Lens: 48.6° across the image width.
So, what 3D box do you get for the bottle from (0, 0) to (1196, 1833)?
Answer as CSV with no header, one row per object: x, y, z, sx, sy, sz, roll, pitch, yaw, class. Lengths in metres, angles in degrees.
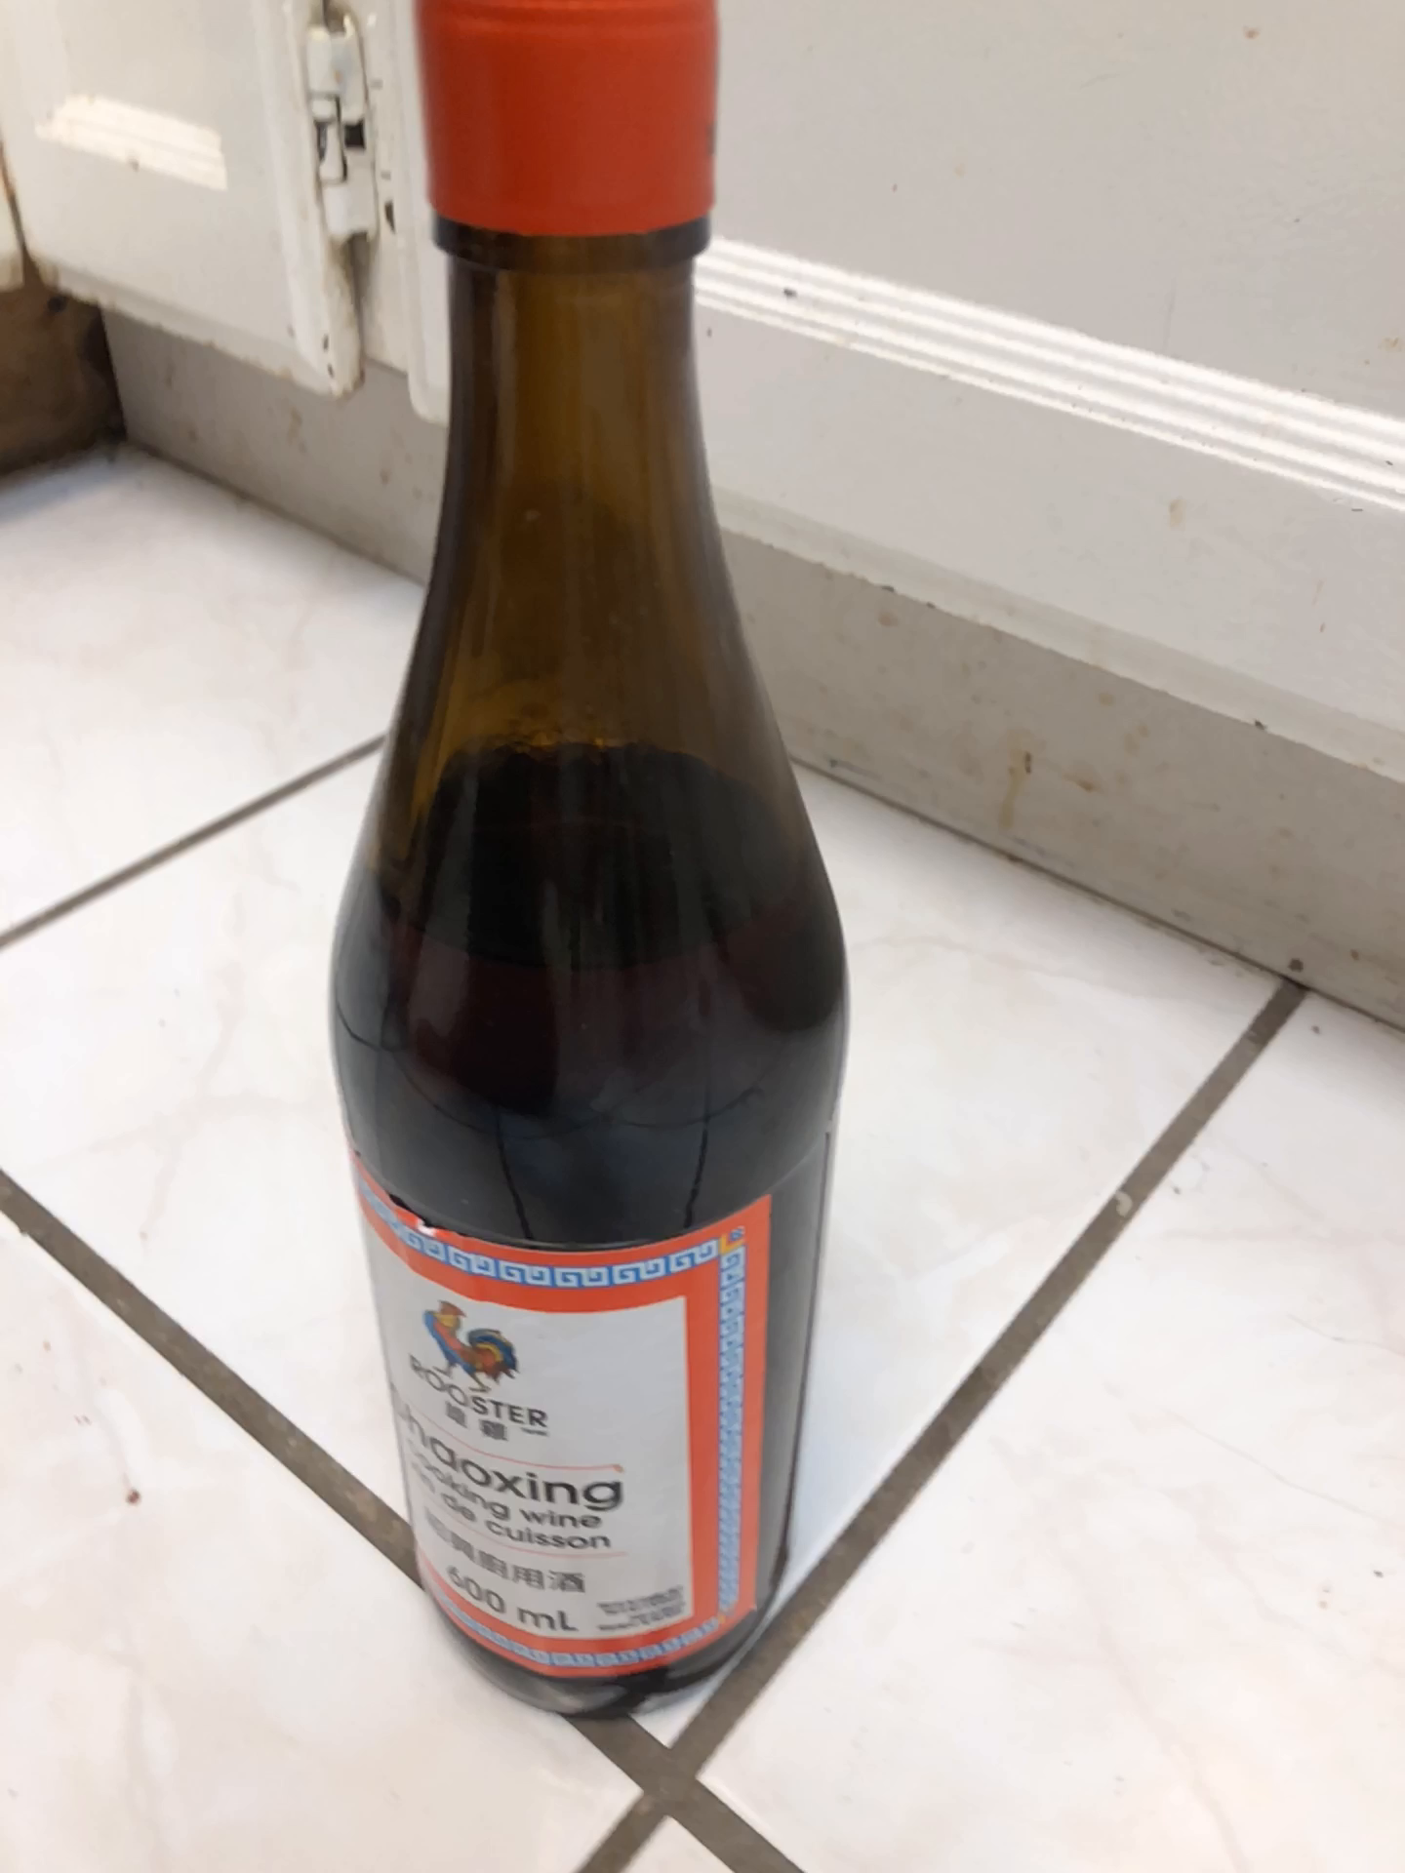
-0.009,0.015,0.216,0.080,0.278,0.070,16,41,16,bottle
